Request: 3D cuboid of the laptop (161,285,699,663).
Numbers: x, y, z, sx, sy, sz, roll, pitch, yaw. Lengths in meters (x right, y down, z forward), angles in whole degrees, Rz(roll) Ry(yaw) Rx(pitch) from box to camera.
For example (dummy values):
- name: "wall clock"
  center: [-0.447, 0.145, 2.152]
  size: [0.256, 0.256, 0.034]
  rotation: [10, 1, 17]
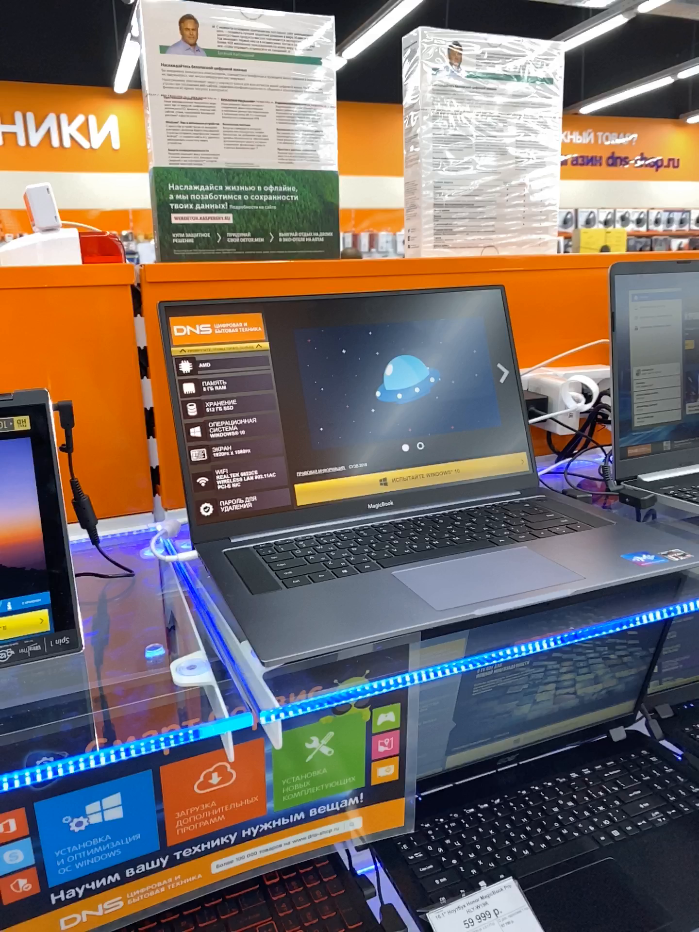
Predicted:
- name: "laptop"
  center: [0.056, -0.041, 0.609]
  size: [0.368, 0.207, 0.315]
  rotation: [-7, 14, -20]
